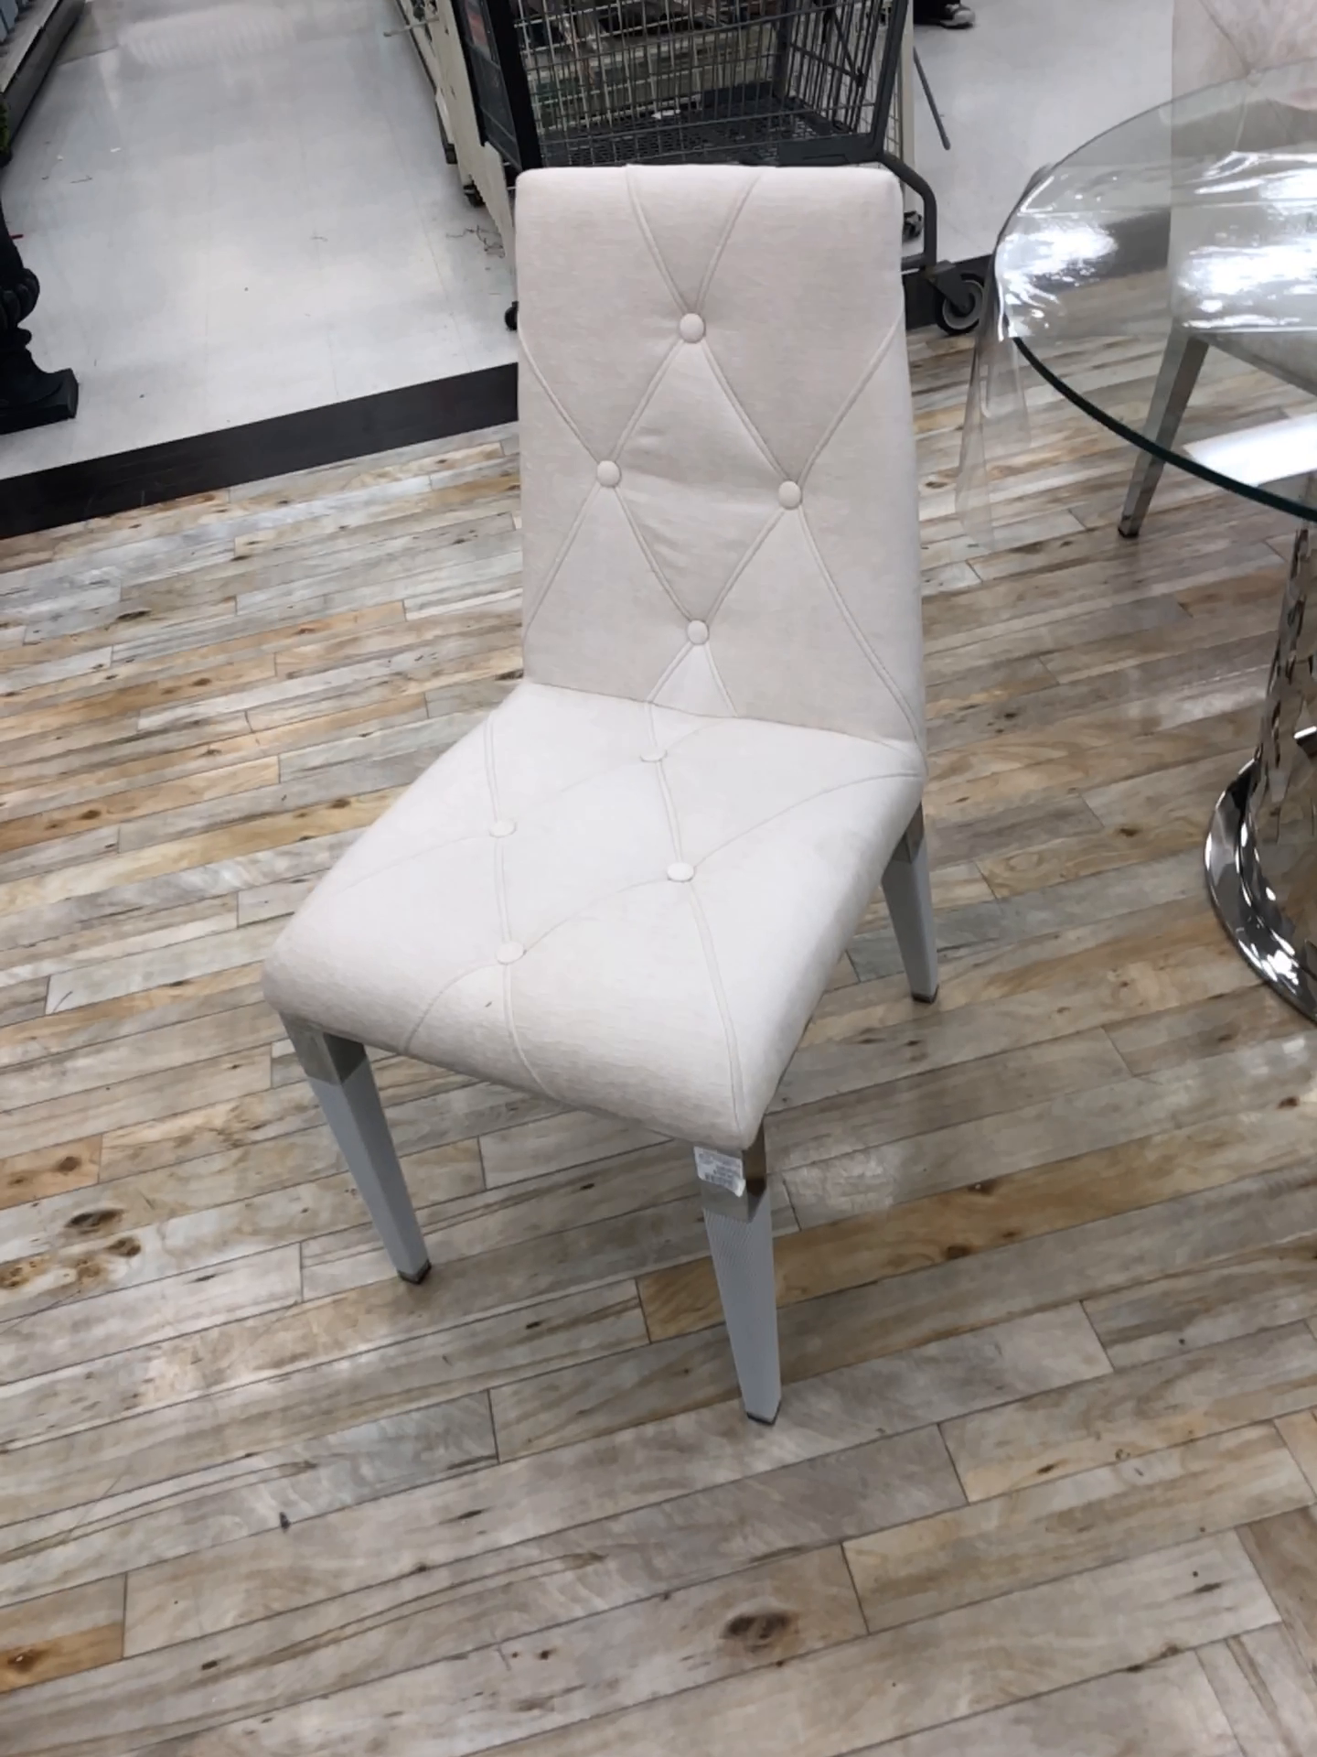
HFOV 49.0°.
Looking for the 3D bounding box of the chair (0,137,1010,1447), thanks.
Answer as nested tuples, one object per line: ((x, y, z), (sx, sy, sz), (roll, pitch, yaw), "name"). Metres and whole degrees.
((-0.028, -0.067, 1.245), (0.471, 0.886, 0.571), (15, 47, 26), "chair")
